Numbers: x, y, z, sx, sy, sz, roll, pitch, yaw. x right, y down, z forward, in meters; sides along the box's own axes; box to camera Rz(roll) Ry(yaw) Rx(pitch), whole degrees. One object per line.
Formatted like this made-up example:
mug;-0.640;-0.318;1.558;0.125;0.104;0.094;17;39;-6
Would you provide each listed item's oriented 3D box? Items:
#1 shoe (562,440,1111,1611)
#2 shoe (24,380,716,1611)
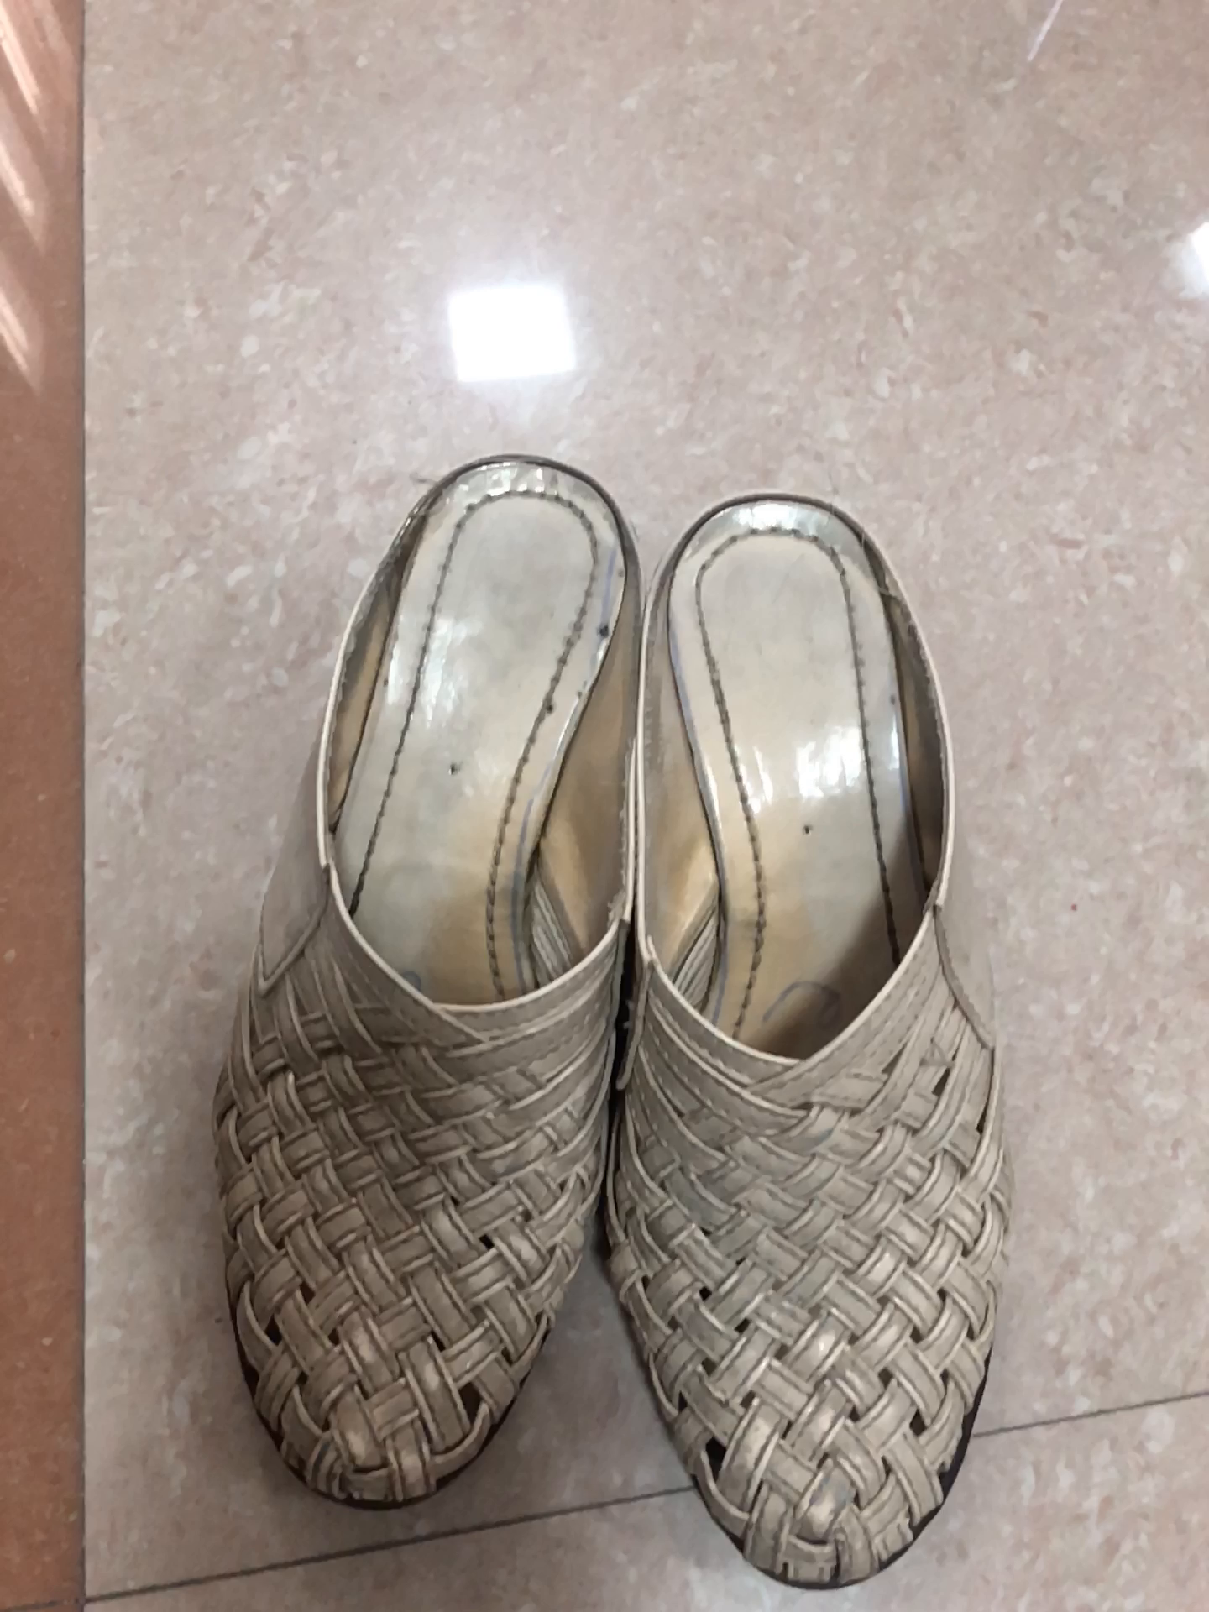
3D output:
shoe;0.042;0.045;0.303;0.090;0.080;0.240;-1;69;4
shoe;-0.036;0.031;0.307;0.090;0.080;0.240;7;69;5
